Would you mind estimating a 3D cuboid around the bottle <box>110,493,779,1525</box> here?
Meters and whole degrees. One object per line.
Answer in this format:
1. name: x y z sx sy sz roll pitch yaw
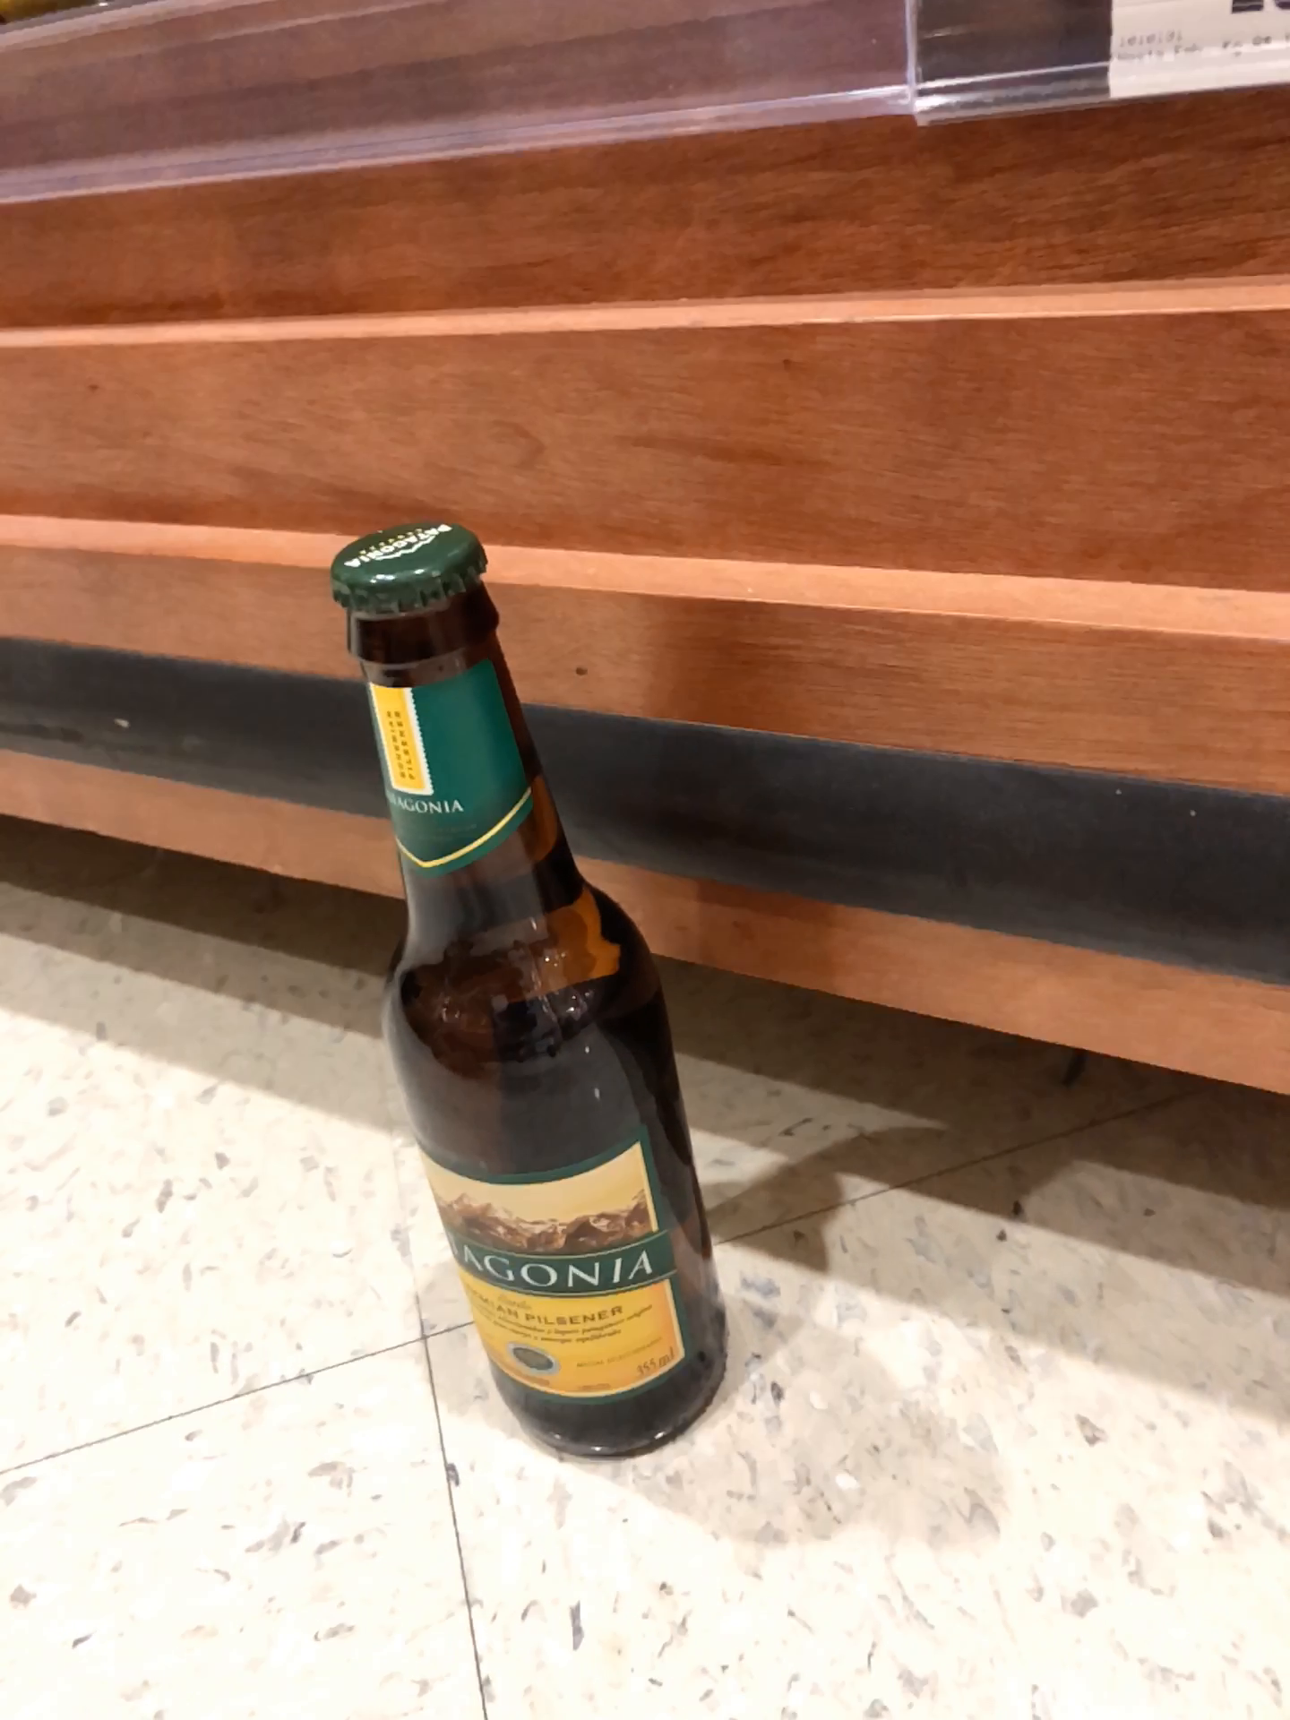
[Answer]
1. bottle: -0.029 0.039 0.306 0.070 0.218 0.060 11 39 30
